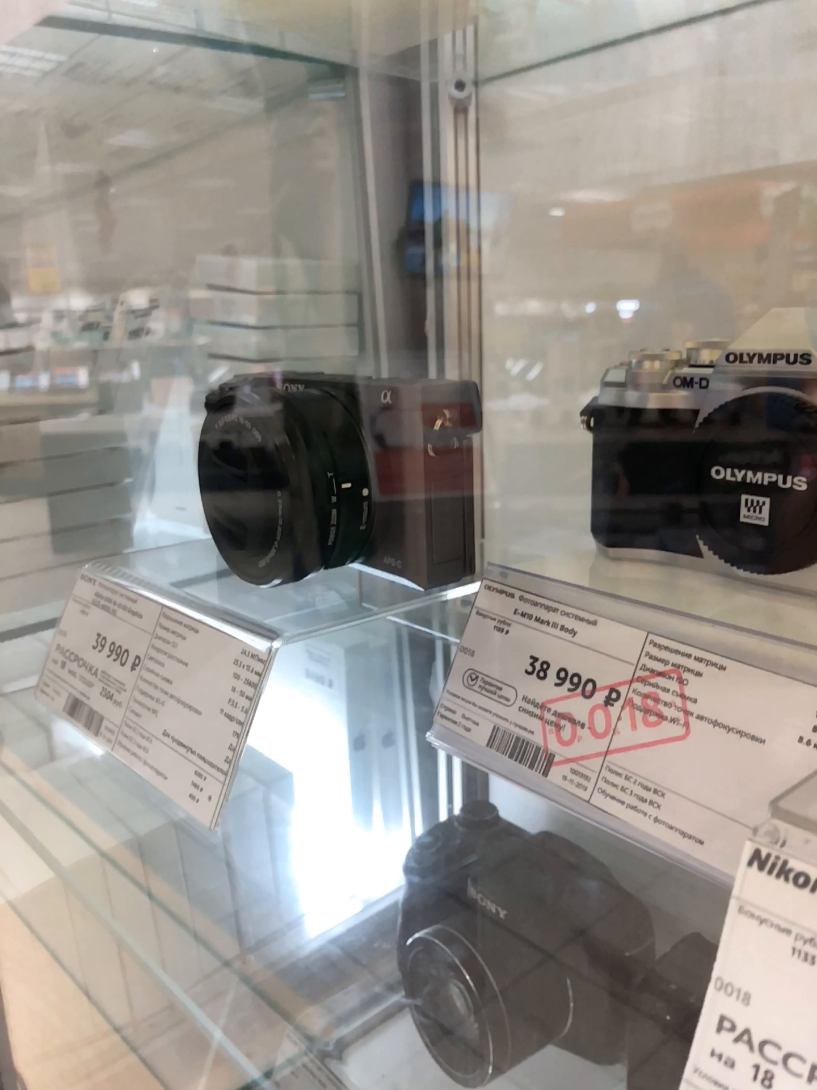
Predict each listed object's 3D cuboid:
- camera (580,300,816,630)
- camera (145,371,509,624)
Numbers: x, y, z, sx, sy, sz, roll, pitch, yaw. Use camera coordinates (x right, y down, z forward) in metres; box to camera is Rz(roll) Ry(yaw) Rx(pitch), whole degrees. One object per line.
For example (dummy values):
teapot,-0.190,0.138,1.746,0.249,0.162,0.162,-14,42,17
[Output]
camera,0.132,-0.034,0.297,0.087,0.081,0.123,-12,15,-38
camera,-0.034,-0.026,0.330,0.066,0.070,0.130,-12,15,-38
